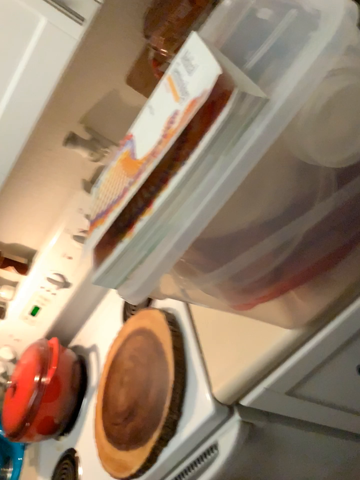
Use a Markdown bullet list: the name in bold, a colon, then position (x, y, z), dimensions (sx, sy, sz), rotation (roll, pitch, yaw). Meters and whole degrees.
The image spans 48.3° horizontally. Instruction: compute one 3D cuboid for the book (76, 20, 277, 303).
- **book**: position (-0.037, -0.105, 0.501), dimensions (0.290, 0.050, 0.230), rotation (-51, 31, 23)
